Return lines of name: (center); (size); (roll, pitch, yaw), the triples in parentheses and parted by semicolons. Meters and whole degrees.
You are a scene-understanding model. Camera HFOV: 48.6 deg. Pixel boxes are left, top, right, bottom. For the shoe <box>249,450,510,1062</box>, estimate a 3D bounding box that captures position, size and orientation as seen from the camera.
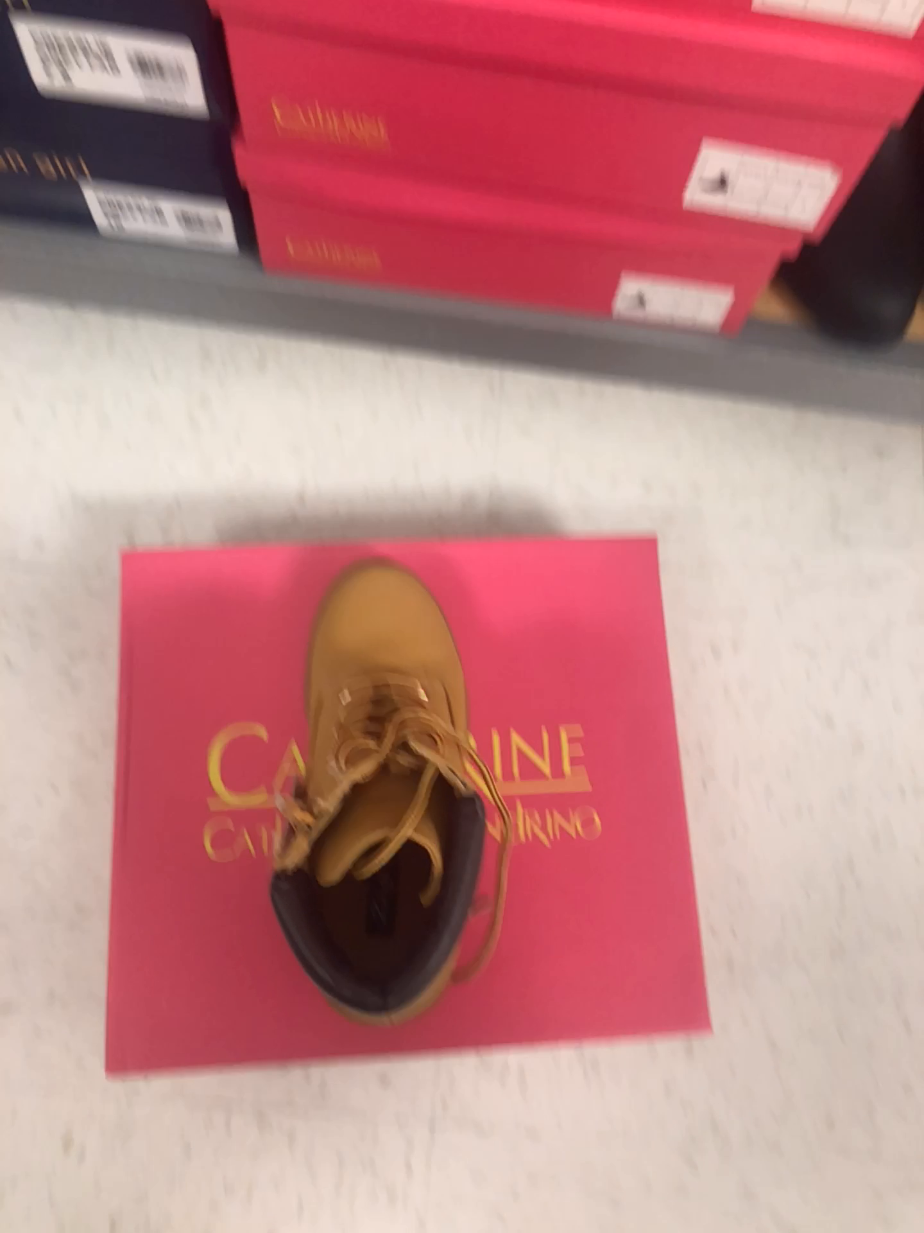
shoe: (-0.032, 0.066, 0.447); (0.085, 0.170, 0.217); (2, 73, -4)
